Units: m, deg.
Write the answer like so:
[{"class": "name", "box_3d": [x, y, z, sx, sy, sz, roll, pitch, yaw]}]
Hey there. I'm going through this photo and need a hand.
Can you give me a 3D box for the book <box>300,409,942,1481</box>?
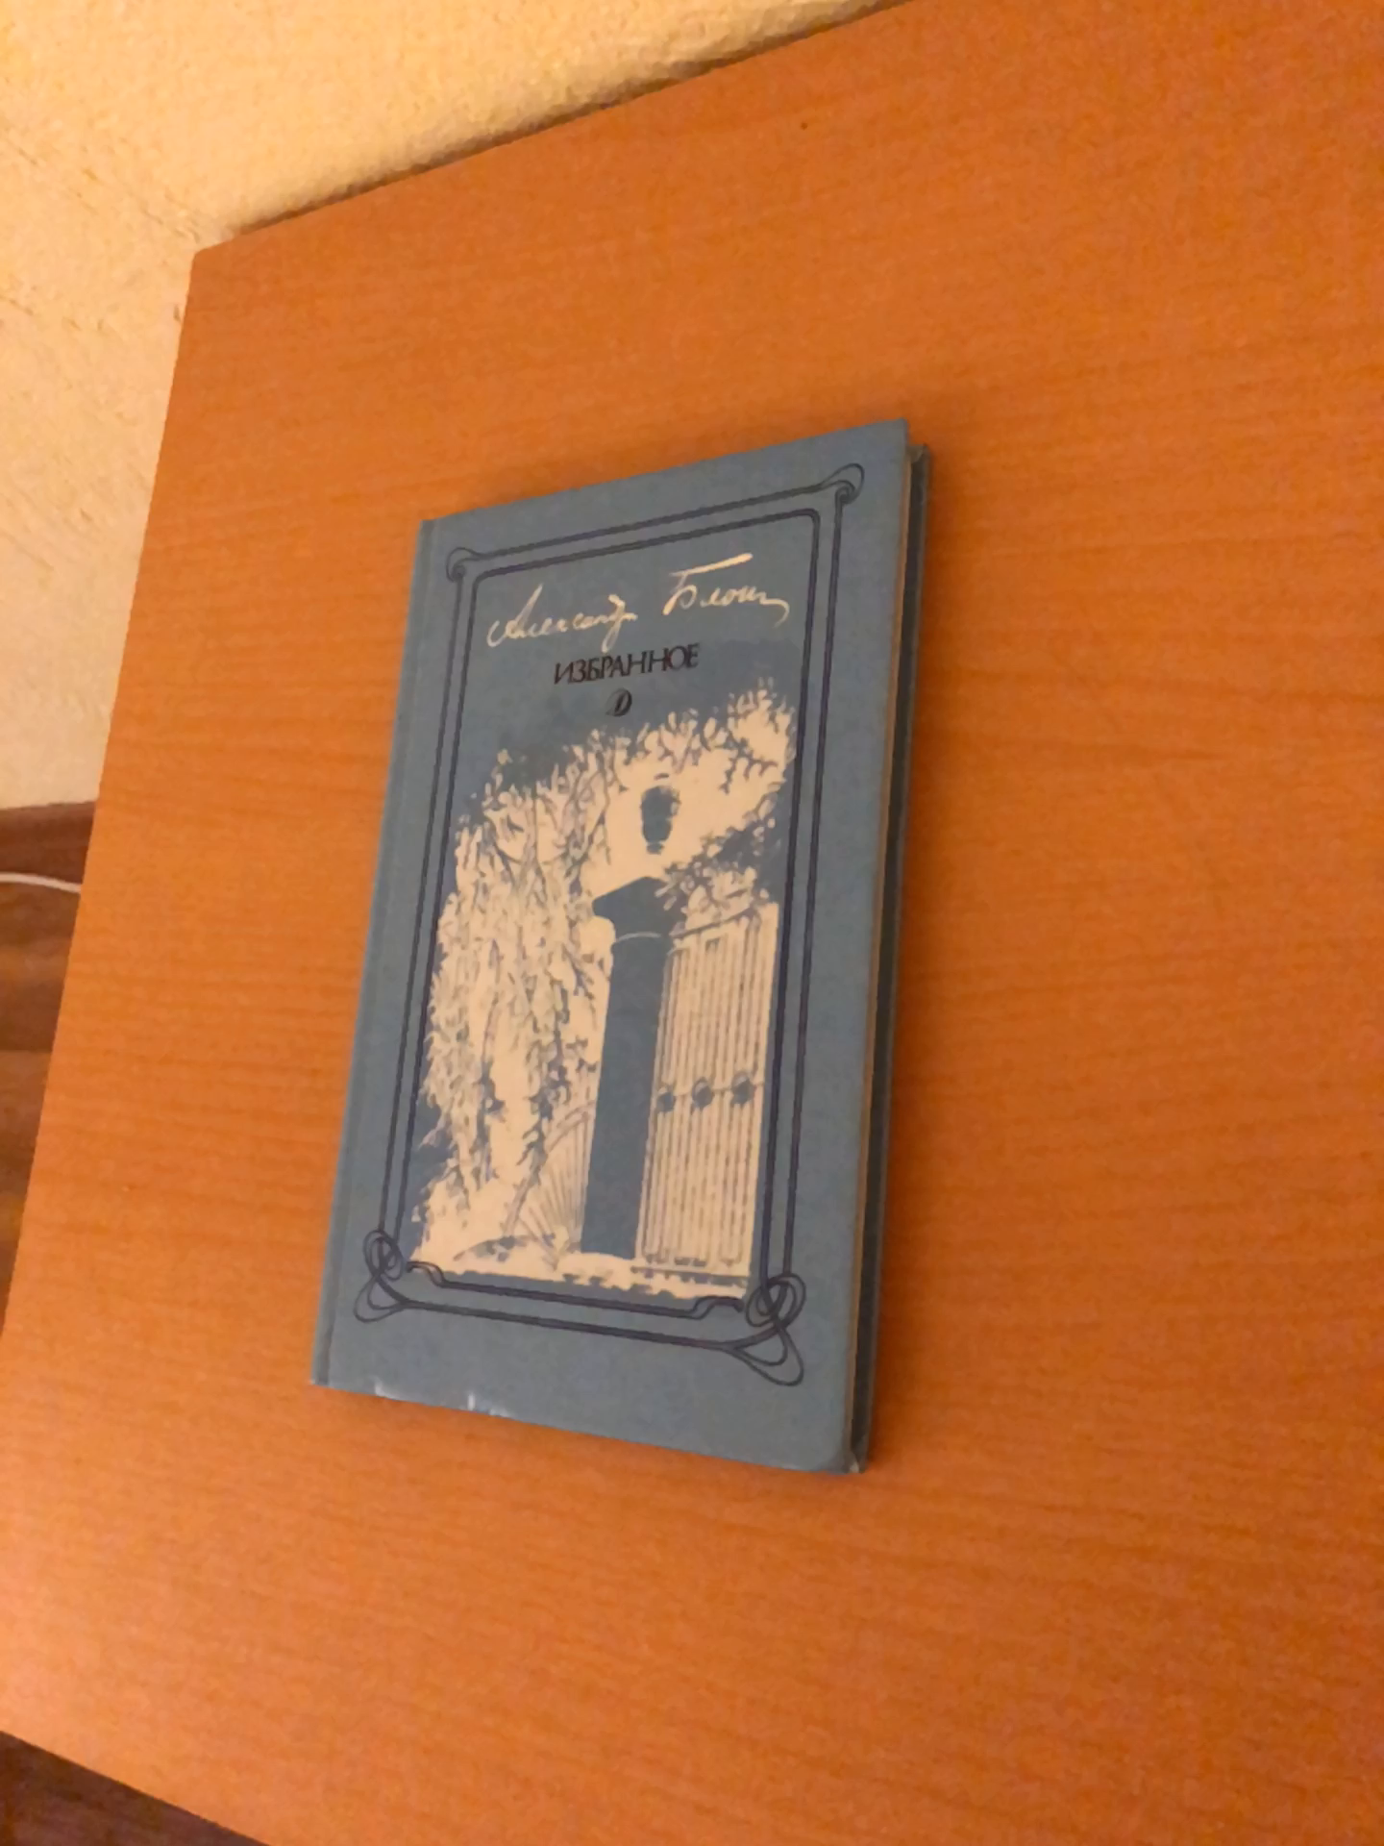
[{"class": "book", "box_3d": [-0.017, 0.001, 0.336, 0.135, 0.020, 0.210, -2, 77, 31]}]
